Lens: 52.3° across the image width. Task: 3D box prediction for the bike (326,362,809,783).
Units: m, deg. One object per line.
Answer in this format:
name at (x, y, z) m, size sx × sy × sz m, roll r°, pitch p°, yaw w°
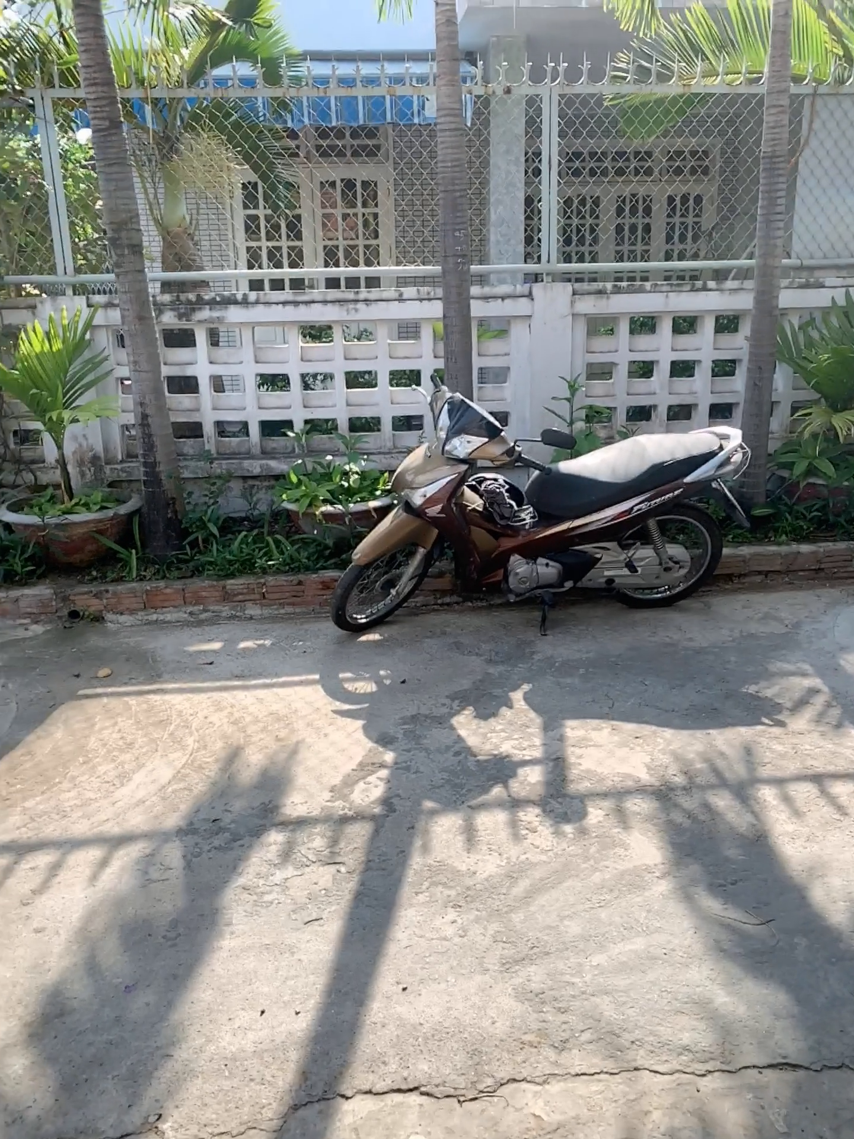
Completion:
bike at (0.593, -0.085, 3.747) m, size 1.975 × 1.443 × 0.614 m, roll -7°, pitch 17°, yaw -17°
